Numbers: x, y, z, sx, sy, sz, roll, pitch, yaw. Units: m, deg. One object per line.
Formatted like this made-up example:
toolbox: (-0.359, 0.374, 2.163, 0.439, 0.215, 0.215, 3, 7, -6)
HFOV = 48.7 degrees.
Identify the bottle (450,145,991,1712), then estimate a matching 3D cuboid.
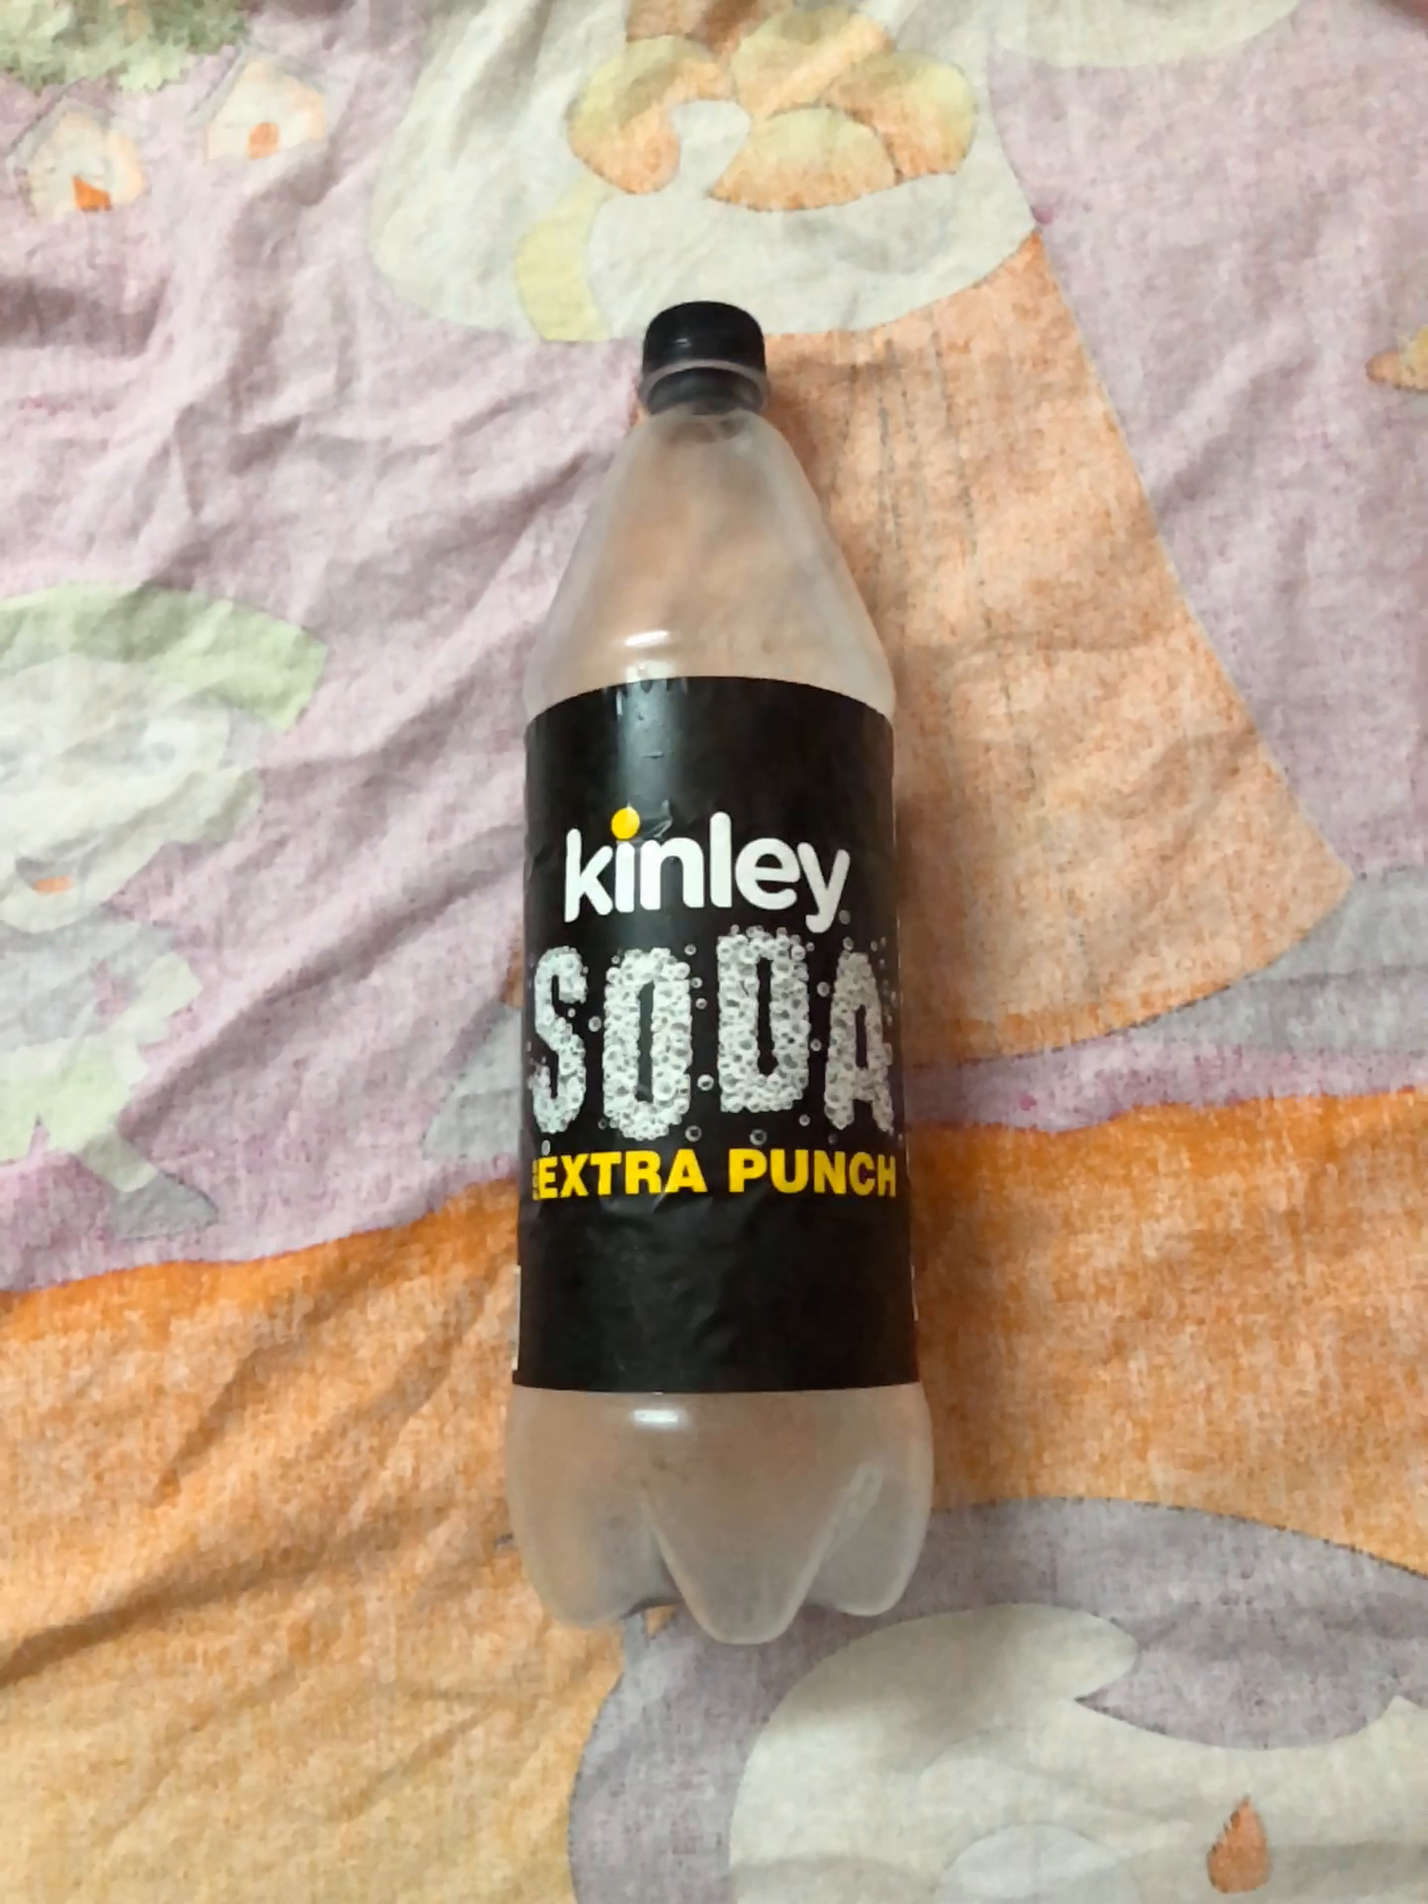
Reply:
bottle: (-0.001, -0.008, 0.322, 0.090, 0.080, 0.280, -1, 83, 0)
